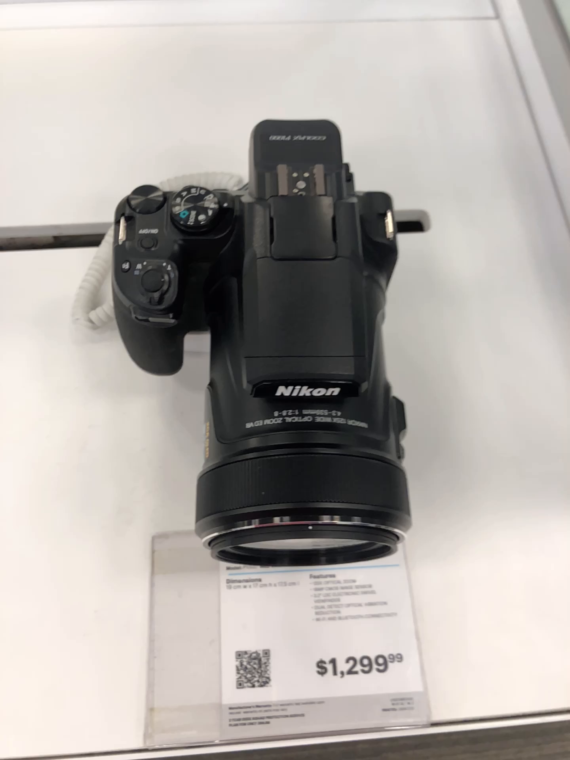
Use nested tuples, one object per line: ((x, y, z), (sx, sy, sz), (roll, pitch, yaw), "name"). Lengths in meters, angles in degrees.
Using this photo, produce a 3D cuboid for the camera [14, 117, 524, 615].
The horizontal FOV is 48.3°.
((-0.011, -0.004, 0.289), (0.160, 0.110, 0.190), (-3, 65, -3), "camera")
